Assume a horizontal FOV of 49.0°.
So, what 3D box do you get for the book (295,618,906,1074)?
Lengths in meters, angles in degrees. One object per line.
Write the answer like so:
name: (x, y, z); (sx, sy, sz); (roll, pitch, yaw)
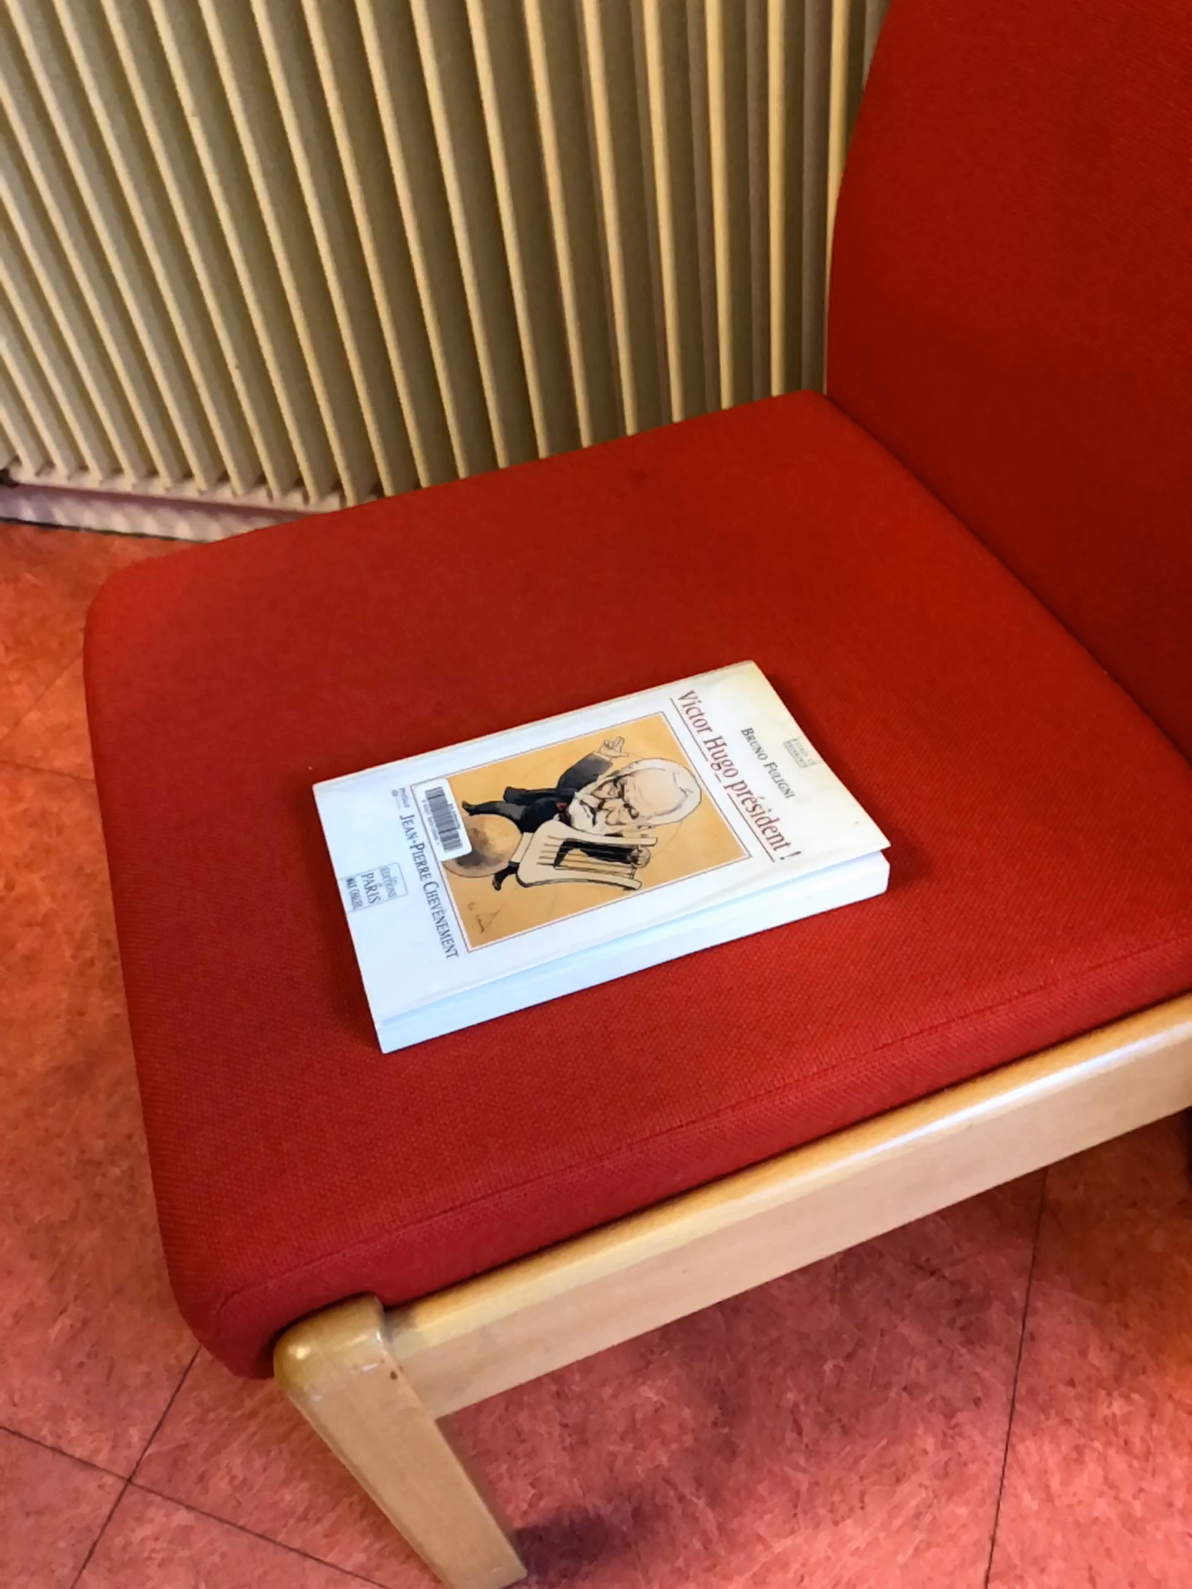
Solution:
book: (-0.003, 0.014, 0.597); (0.236, 0.040, 0.152); (-19, 48, -9)
